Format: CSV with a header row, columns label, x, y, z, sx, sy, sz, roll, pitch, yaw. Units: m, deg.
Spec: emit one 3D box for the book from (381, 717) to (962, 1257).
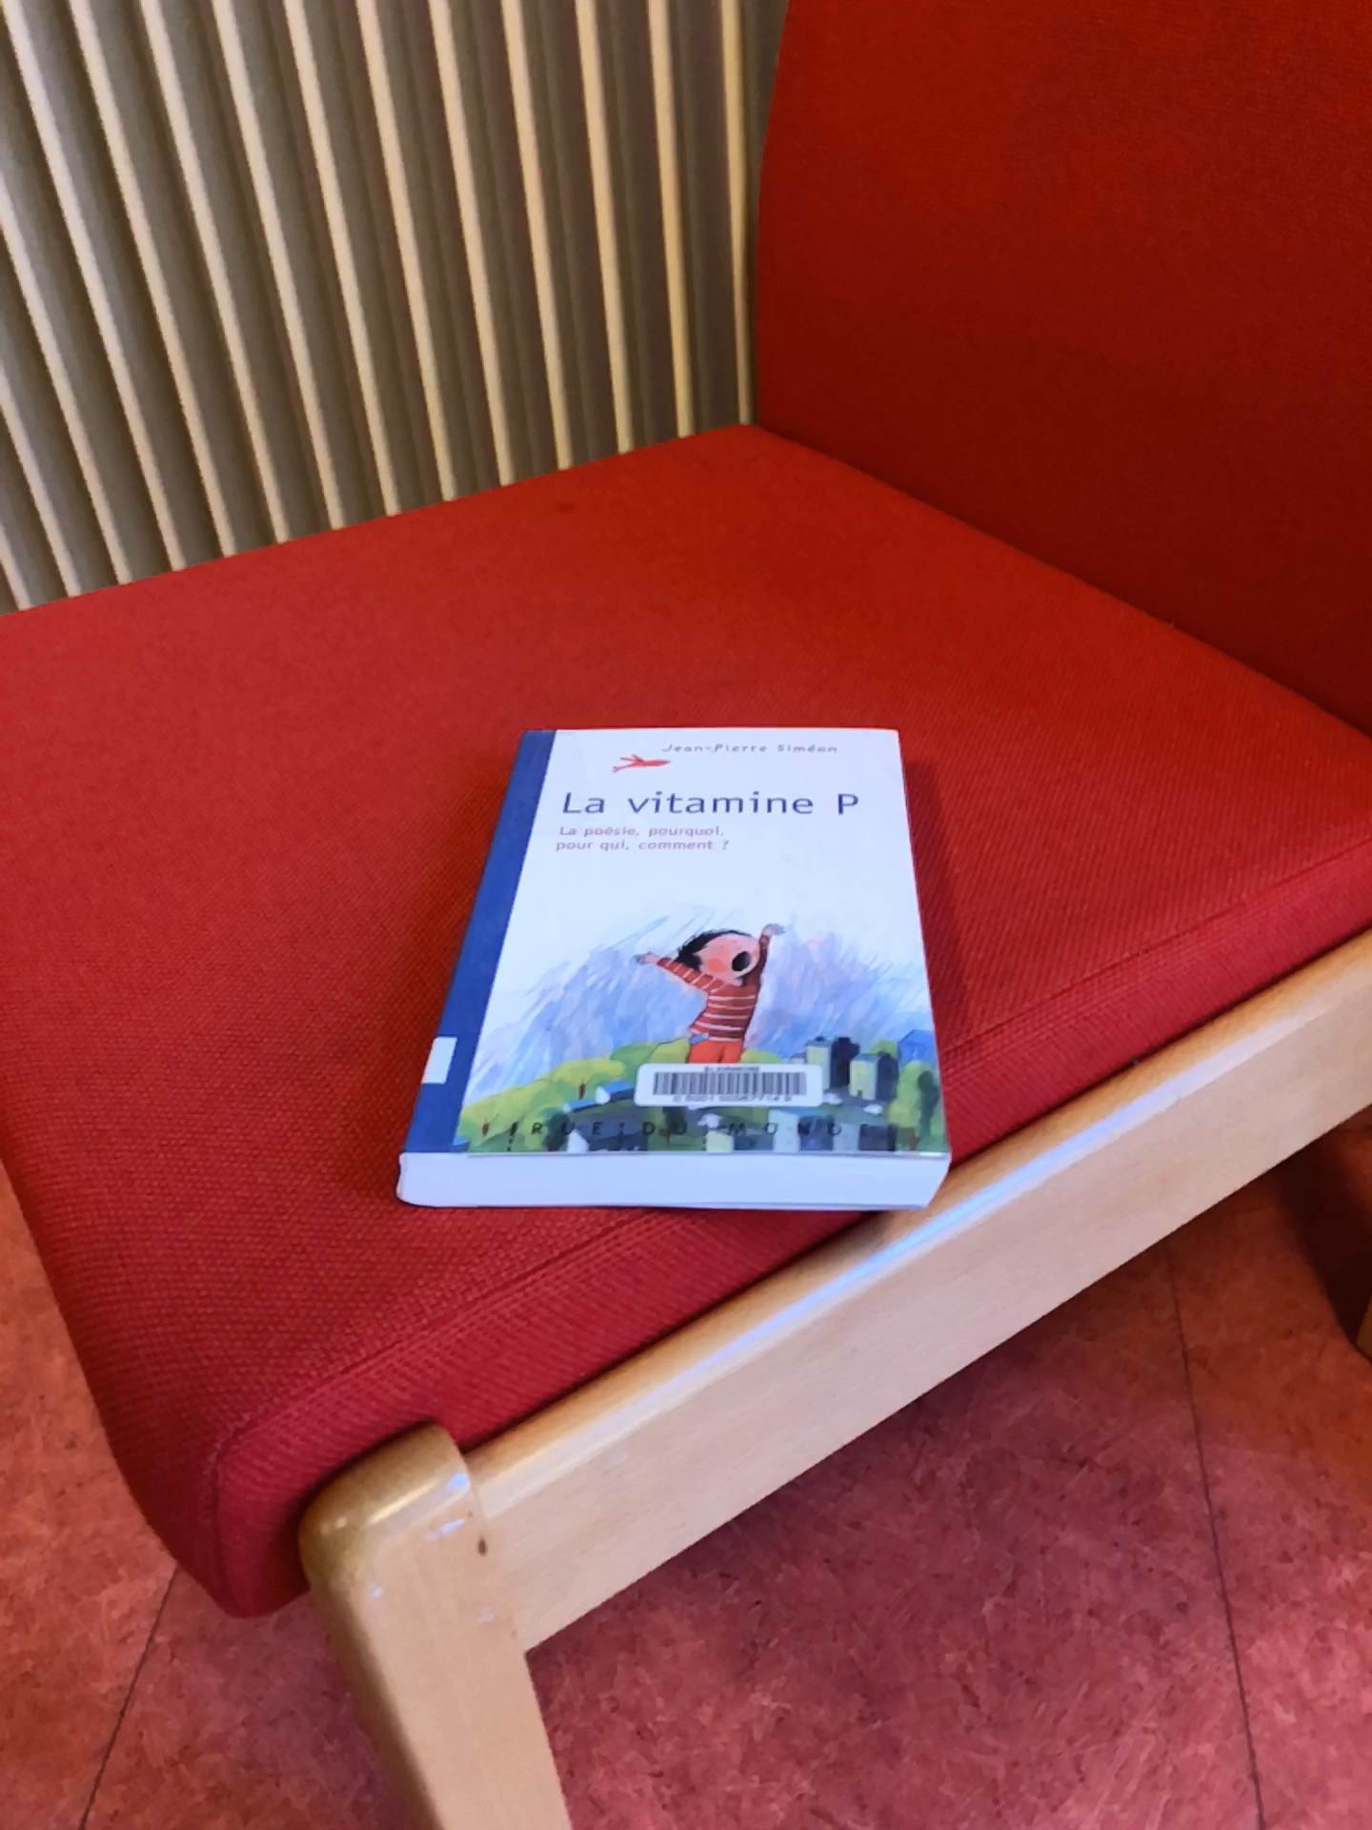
label,x,y,z,sx,sy,sz,roll,pitch,yaw
book,0.002,0.010,0.472,0.147,0.027,0.216,-1,40,5
